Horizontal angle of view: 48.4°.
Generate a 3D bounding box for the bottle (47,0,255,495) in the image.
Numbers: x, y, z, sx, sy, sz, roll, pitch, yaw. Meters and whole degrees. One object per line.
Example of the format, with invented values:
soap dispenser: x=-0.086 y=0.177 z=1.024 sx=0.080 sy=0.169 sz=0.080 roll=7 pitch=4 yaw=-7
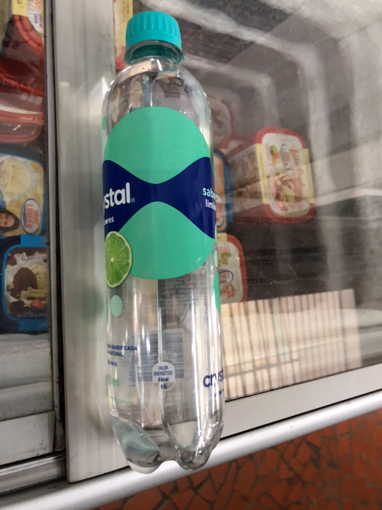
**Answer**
bottle: x=-0.016 y=-0.014 z=0.230 sx=0.070 sy=0.070 sz=0.240 roll=-9 pitch=95 yaw=-67
